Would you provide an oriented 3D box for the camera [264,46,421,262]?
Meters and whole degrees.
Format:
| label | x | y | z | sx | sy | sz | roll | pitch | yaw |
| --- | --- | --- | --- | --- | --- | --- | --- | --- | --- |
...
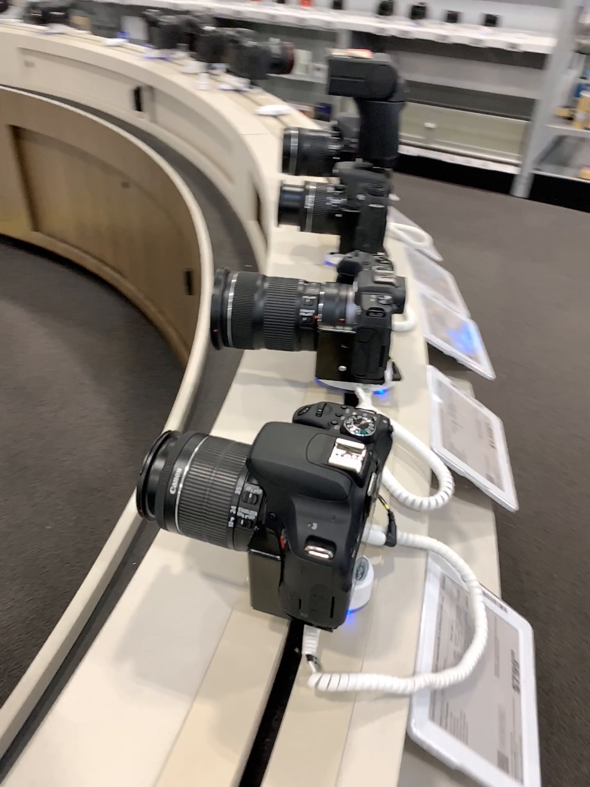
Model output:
| label | x | y | z | sx | sy | sz | roll | pitch | yaw |
| --- | --- | --- | --- | --- | --- | --- | --- | --- | --- |
| camera | 0.053 | -0.310 | 0.786 | 0.170 | 0.219 | 0.151 | 4 | 38 | 2 |

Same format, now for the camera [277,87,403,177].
| label | x | y | z | sx | sy | sz | roll | pitch | yaw |
| --- | --- | --- | --- | --- | --- | --- | --- | --- | --- |
| camera | 0.066 | -0.435 | 1.006 | 0.190 | 0.099 | 0.141 | 1 | 38 | -2 |

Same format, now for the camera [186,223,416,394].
| label | x | y | z | sx | sy | sz | roll | pitch | yaw |
| --- | --- | --- | --- | --- | --- | --- | --- | --- | --- |
| camera | 0.008 | -0.090 | 0.612 | 0.200 | 0.099 | 0.141 | 5 | 38 | 3 |

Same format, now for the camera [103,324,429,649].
| label | x | y | z | sx | sy | sz | roll | pitch | yaw |
| --- | --- | --- | --- | --- | --- | --- | --- | --- | --- |
| camera | -0.010 | 0.055 | 0.422 | 0.170 | 0.119 | 0.151 | 11 | 39 | 11 |
